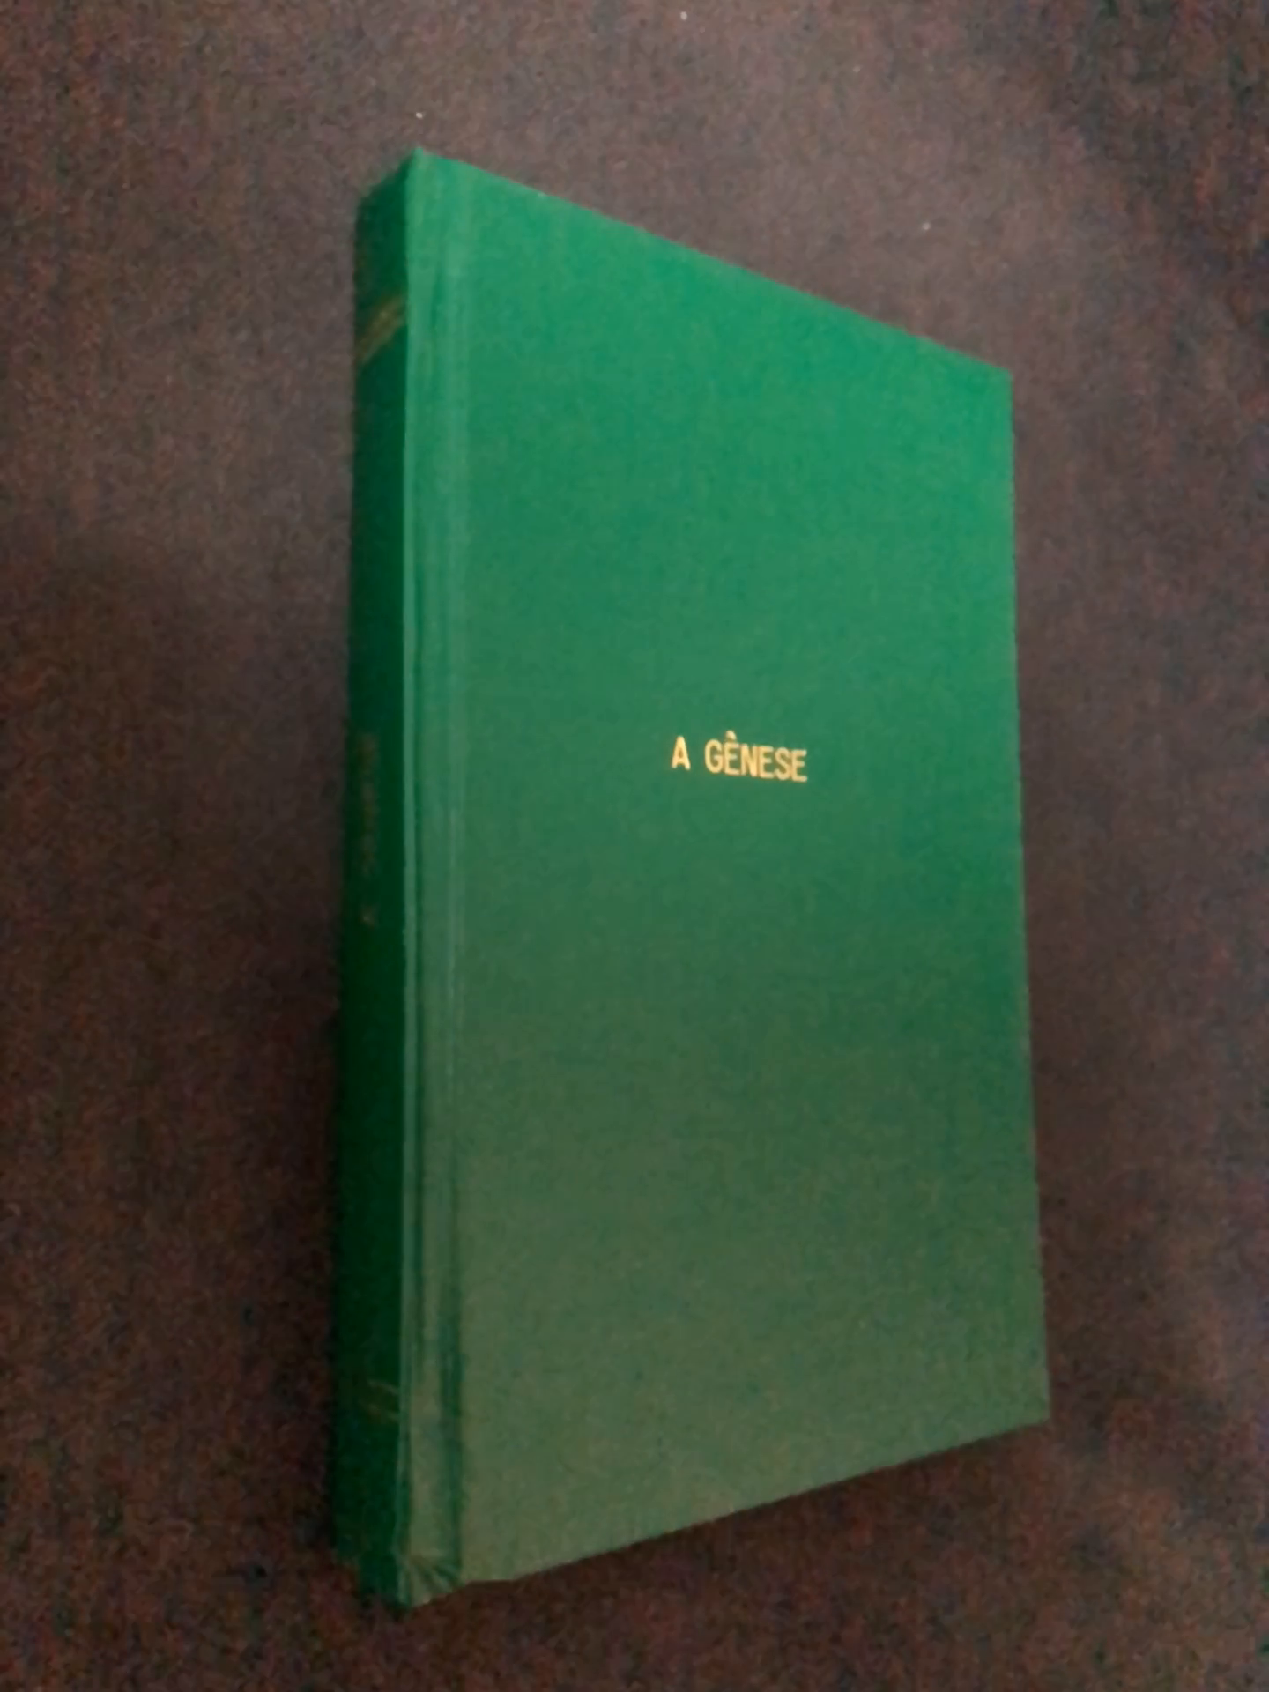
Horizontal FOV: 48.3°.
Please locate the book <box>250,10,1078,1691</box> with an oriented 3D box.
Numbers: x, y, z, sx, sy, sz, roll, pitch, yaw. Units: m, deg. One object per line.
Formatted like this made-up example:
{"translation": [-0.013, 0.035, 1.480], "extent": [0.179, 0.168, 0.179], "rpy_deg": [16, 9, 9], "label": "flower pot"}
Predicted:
{"translation": [0.011, -0.001, 0.260], "extent": [0.151, 0.040, 0.240], "rpy_deg": [3, 82, -36], "label": "book"}
